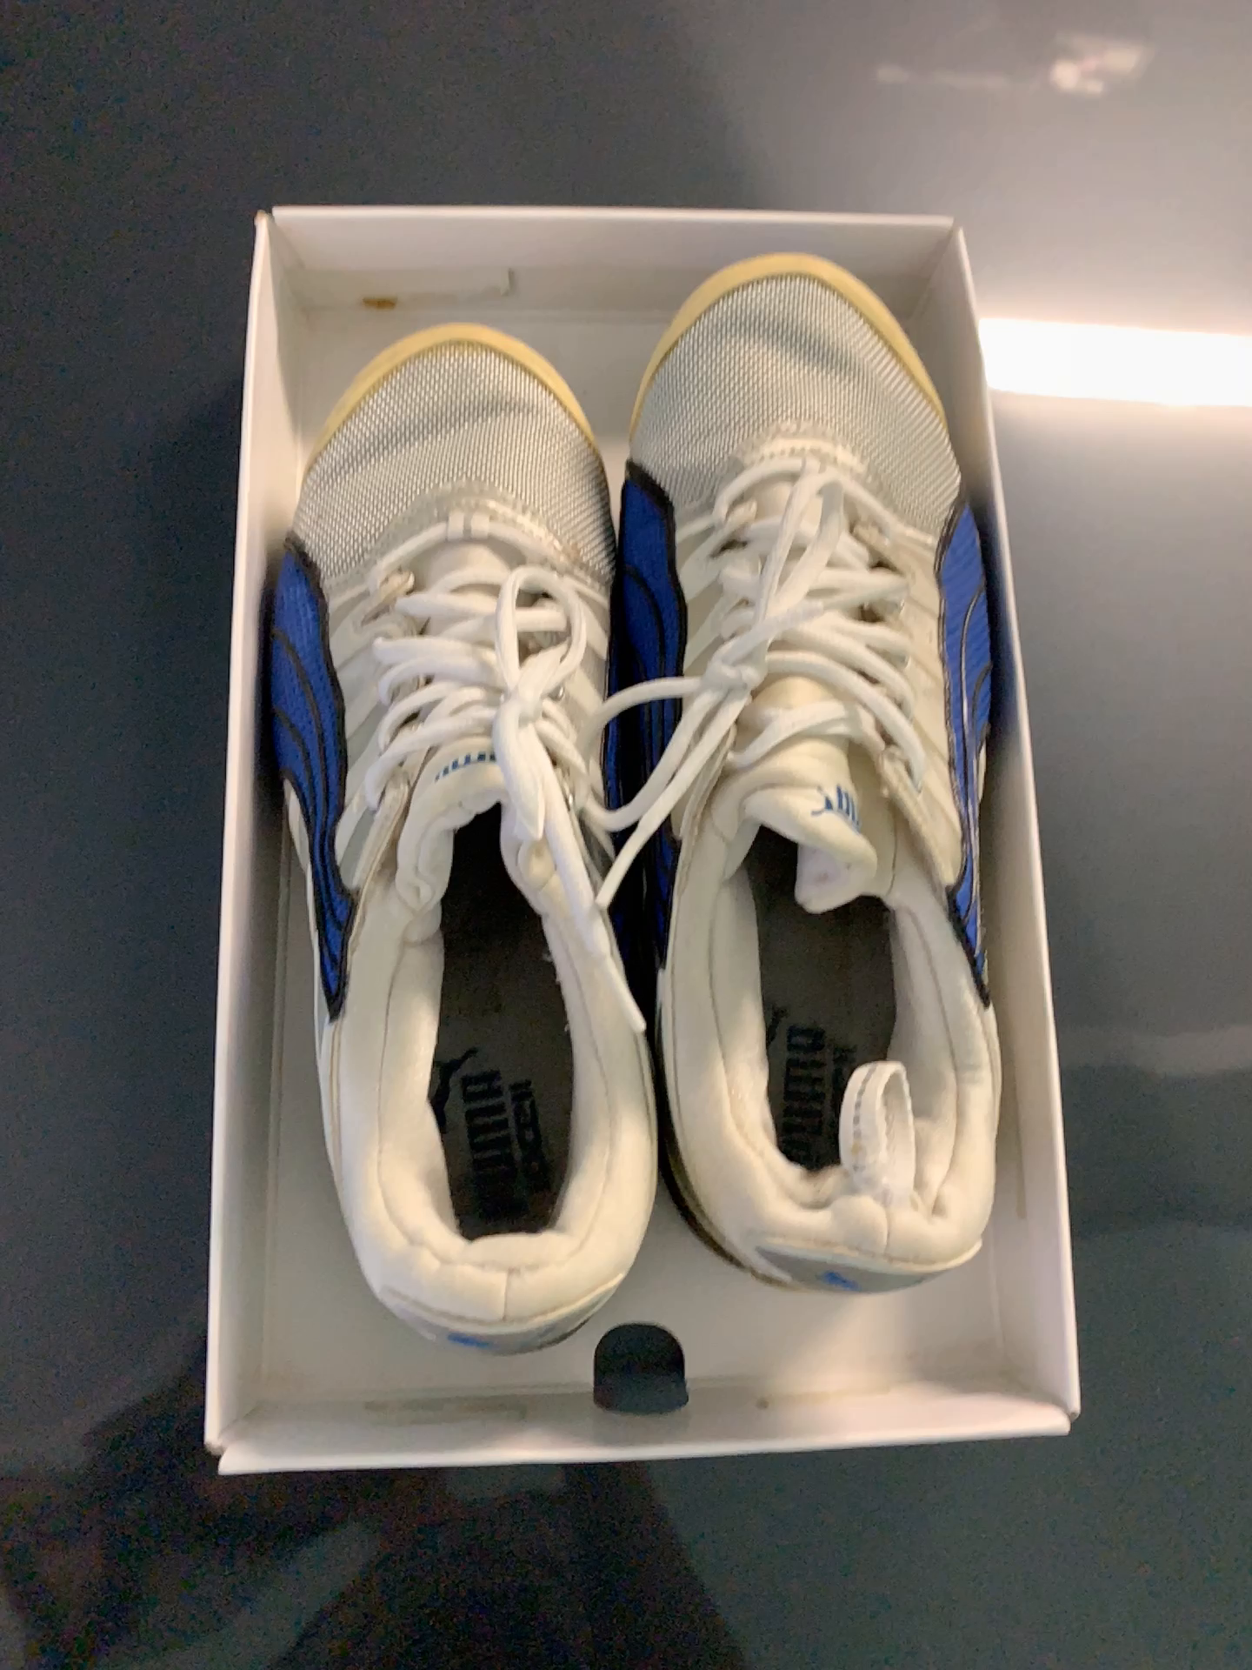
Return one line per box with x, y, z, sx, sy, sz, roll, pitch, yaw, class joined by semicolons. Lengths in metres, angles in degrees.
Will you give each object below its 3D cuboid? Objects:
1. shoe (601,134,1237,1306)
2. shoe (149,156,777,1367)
0.051;-0.033;0.325;0.110;0.089;0.282;0;68;-3;shoe
-0.040;-0.026;0.321;0.110;0.089;0.282;-3;69;-4;shoe
